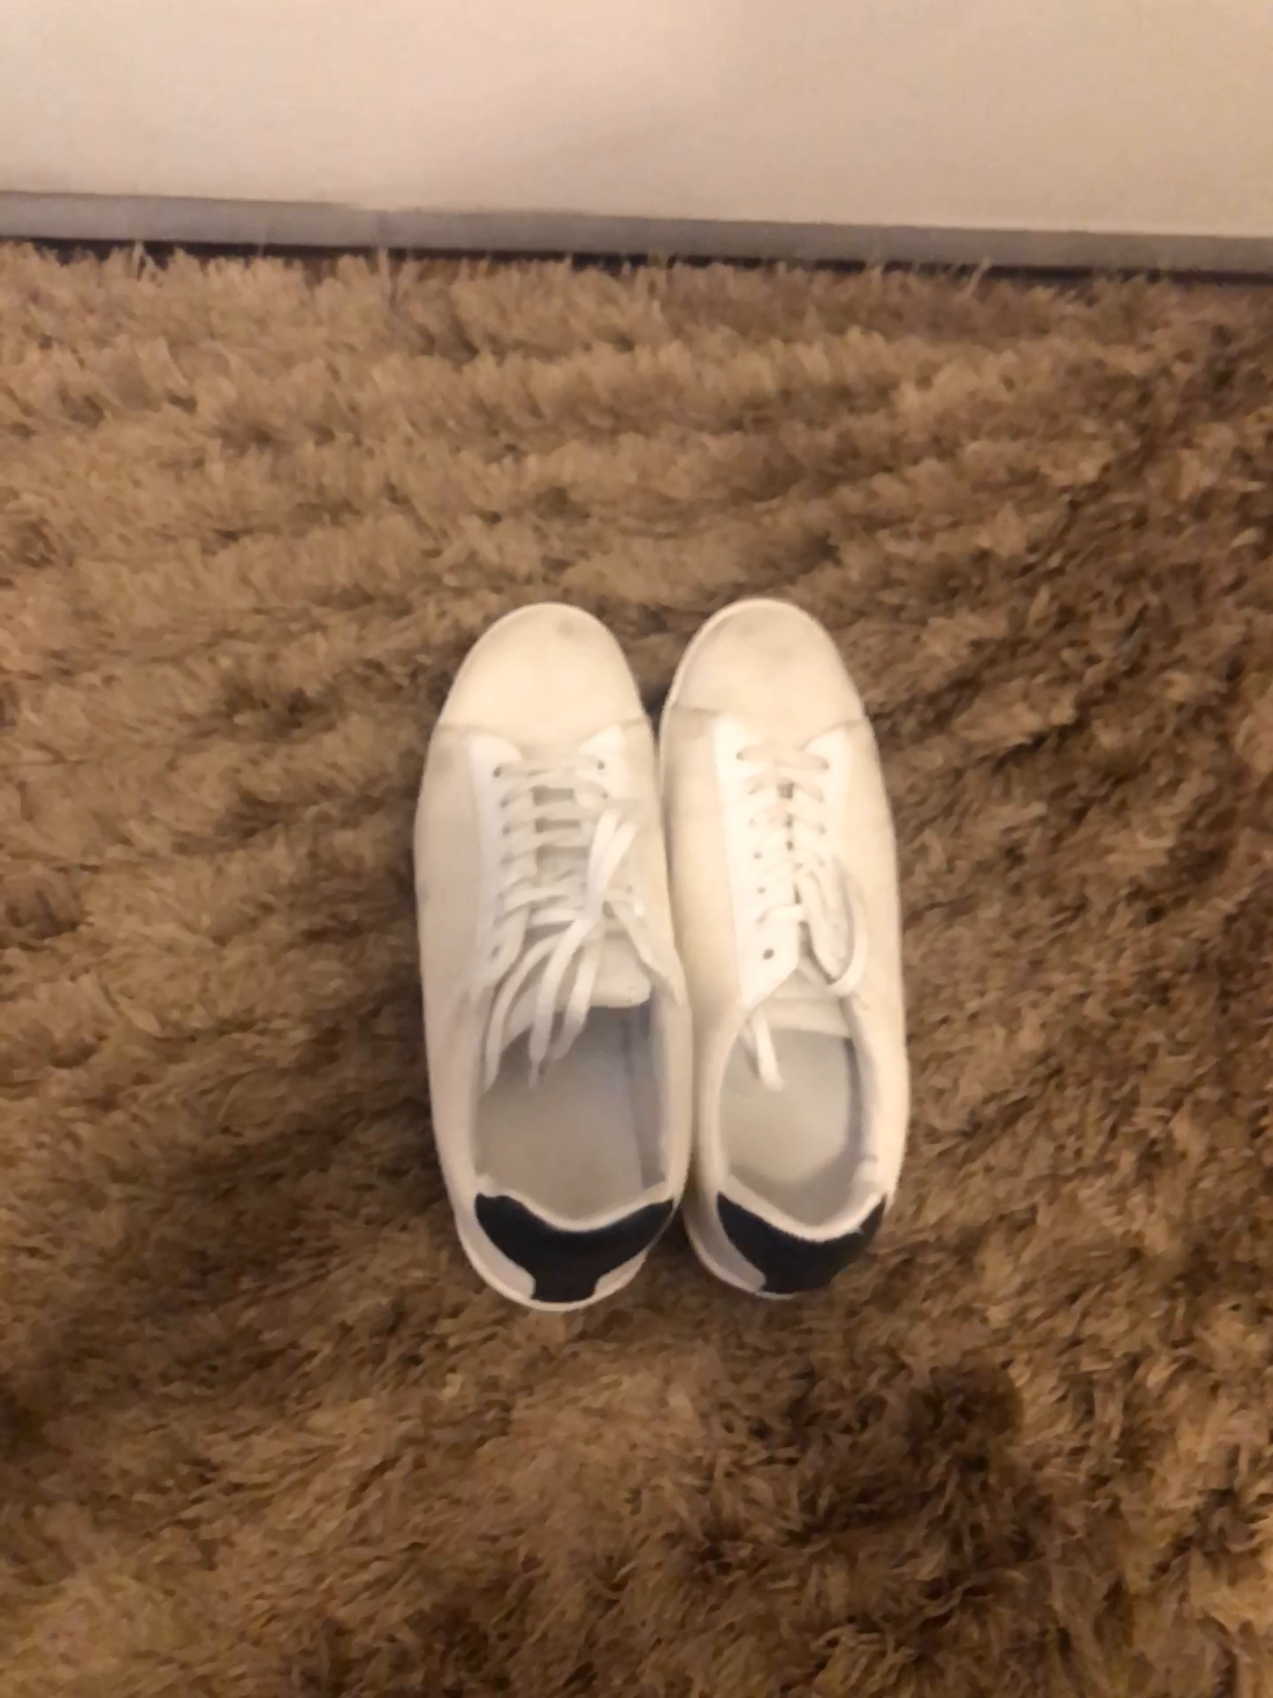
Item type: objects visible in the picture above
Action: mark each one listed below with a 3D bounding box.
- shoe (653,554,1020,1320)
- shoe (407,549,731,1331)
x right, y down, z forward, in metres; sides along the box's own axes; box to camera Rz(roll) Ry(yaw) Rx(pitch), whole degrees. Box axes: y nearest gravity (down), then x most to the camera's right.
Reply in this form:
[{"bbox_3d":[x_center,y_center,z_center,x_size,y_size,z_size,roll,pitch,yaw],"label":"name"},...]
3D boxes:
[{"bbox_3d":[0.065,0.031,0.522,0.104,0.079,0.263,1,75,-6],"label":"shoe"},{"bbox_3d":[-0.028,0.031,0.512,0.100,0.079,0.263,0,75,-6],"label":"shoe"}]
